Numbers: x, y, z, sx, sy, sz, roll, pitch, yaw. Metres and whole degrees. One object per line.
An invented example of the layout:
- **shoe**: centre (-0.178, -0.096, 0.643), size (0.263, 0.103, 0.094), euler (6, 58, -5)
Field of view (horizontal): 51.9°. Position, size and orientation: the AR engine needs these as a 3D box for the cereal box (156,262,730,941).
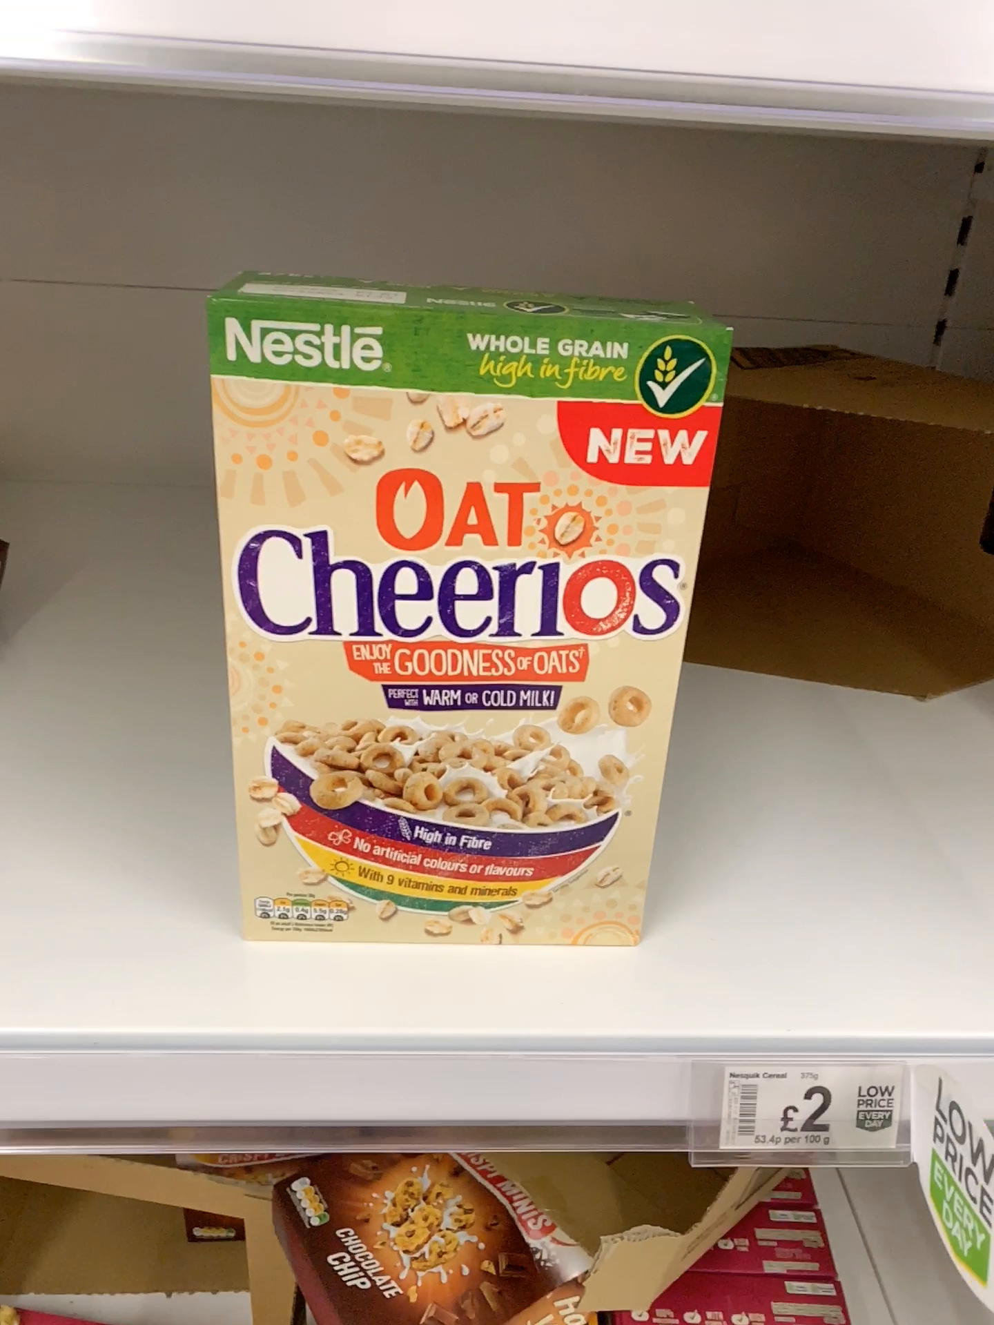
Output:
- **cereal box**: centre (-0.026, -0.014, 0.452), size (0.200, 0.287, 0.071), euler (2, 27, -3)
